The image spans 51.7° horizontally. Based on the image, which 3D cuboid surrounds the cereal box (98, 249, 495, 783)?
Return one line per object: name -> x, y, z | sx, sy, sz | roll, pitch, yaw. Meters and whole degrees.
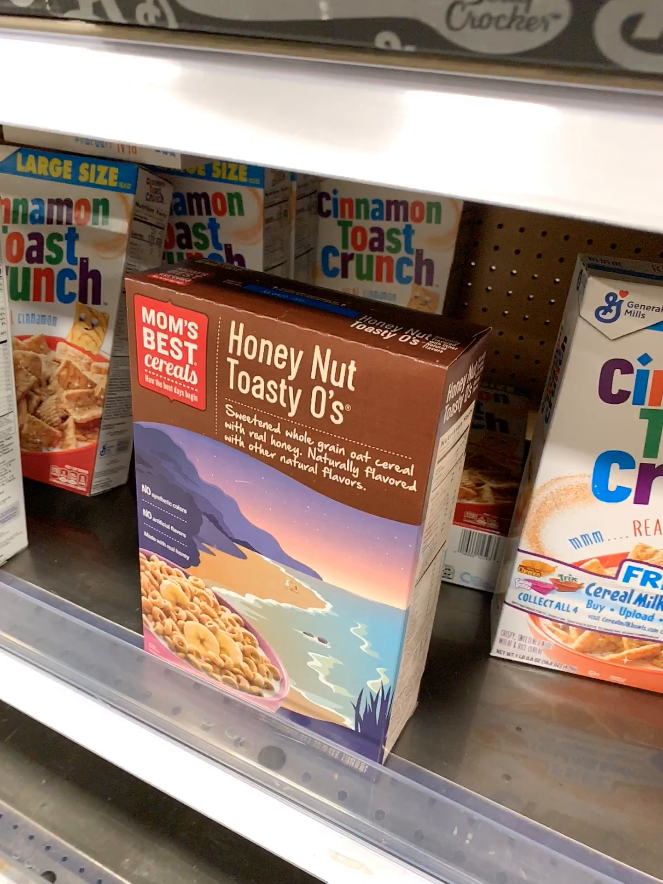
cereal box -> -0.033, 0.046, 0.424 | 0.200, 0.279, 0.070 | 18, 31, 22
